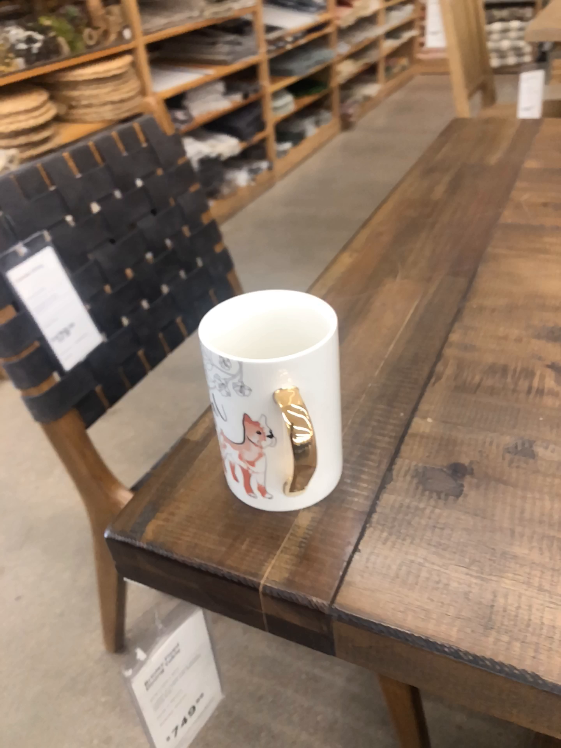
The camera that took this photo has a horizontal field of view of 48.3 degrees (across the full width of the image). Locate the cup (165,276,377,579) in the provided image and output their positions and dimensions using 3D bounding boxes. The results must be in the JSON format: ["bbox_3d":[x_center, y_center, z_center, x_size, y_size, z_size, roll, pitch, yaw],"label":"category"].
[{"bbox_3d":[-0.006,0.027,0.366,0.097,0.115,0.120,-7,34,-3],"label":"cup"}]
